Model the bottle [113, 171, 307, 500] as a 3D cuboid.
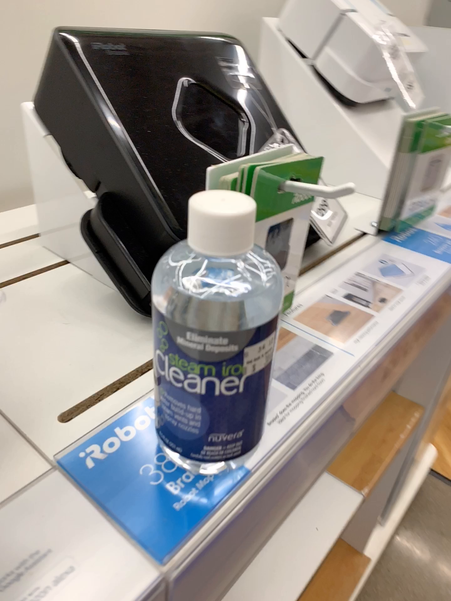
[{"bbox_3d":[-0.007,0.017,0.214,0.060,0.129,0.060,4,31,-2],"label":"bottle"}]
